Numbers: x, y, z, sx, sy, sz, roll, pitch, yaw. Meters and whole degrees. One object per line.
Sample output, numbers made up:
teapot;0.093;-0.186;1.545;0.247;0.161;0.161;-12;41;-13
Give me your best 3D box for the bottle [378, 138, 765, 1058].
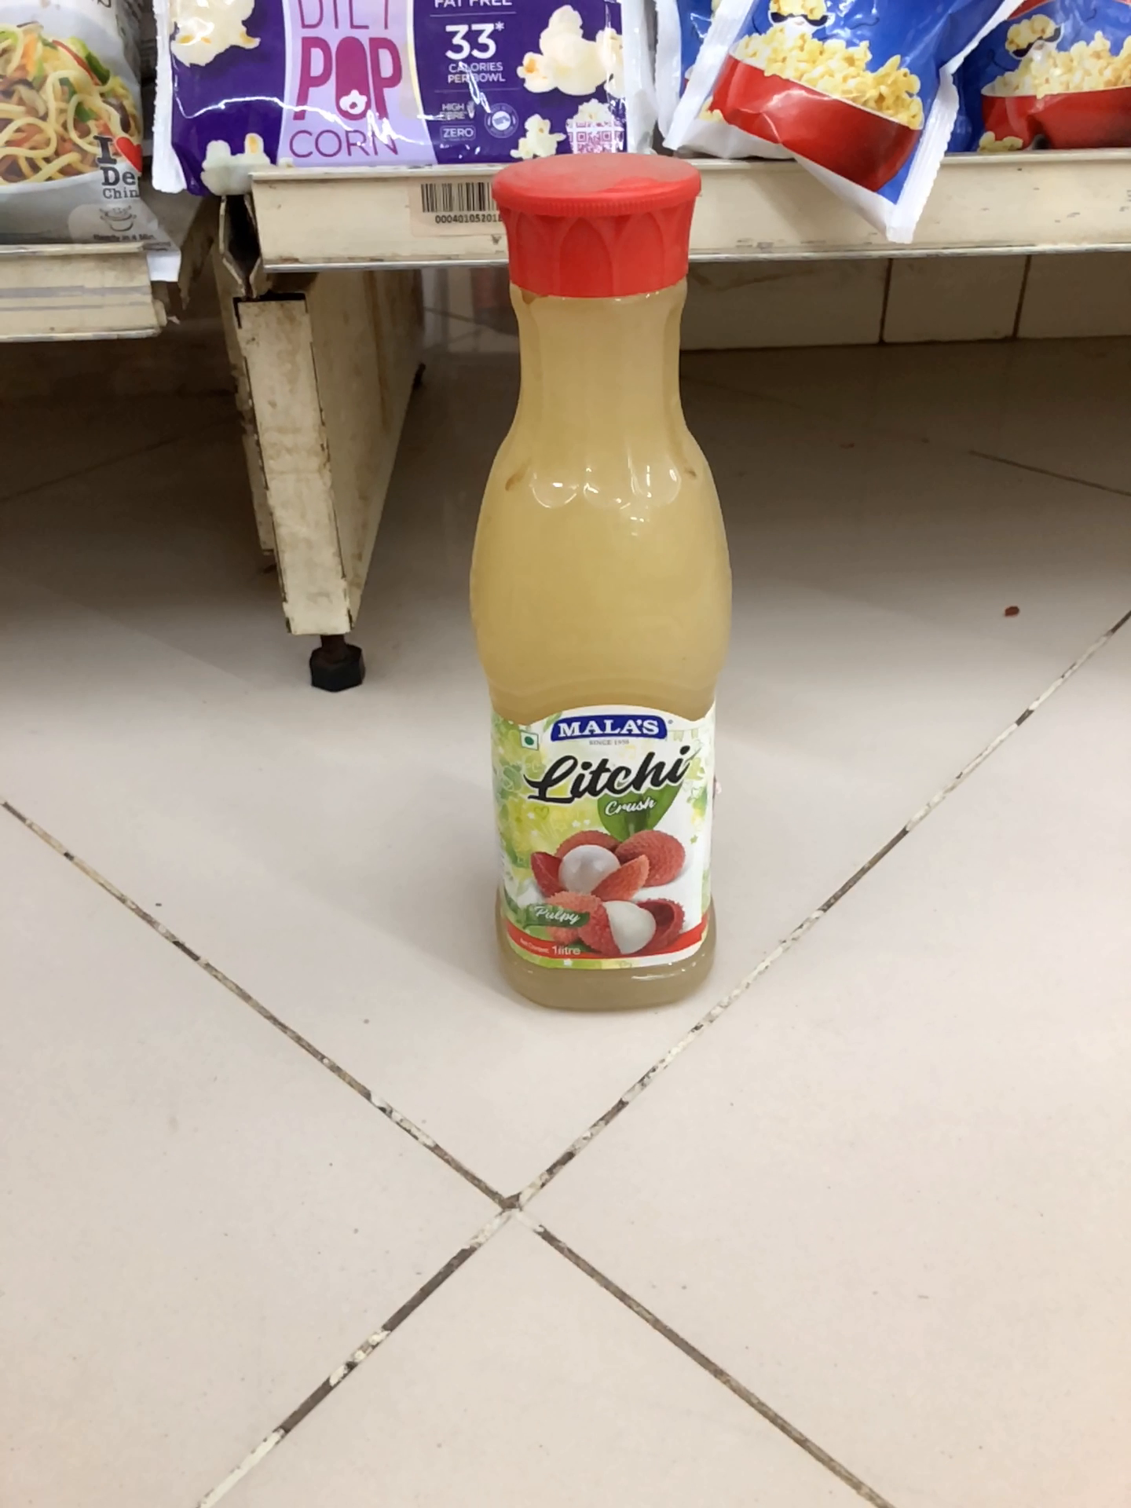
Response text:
bottle;0.005;-0.034;0.411;0.090;0.288;0.091;-1;35;1
